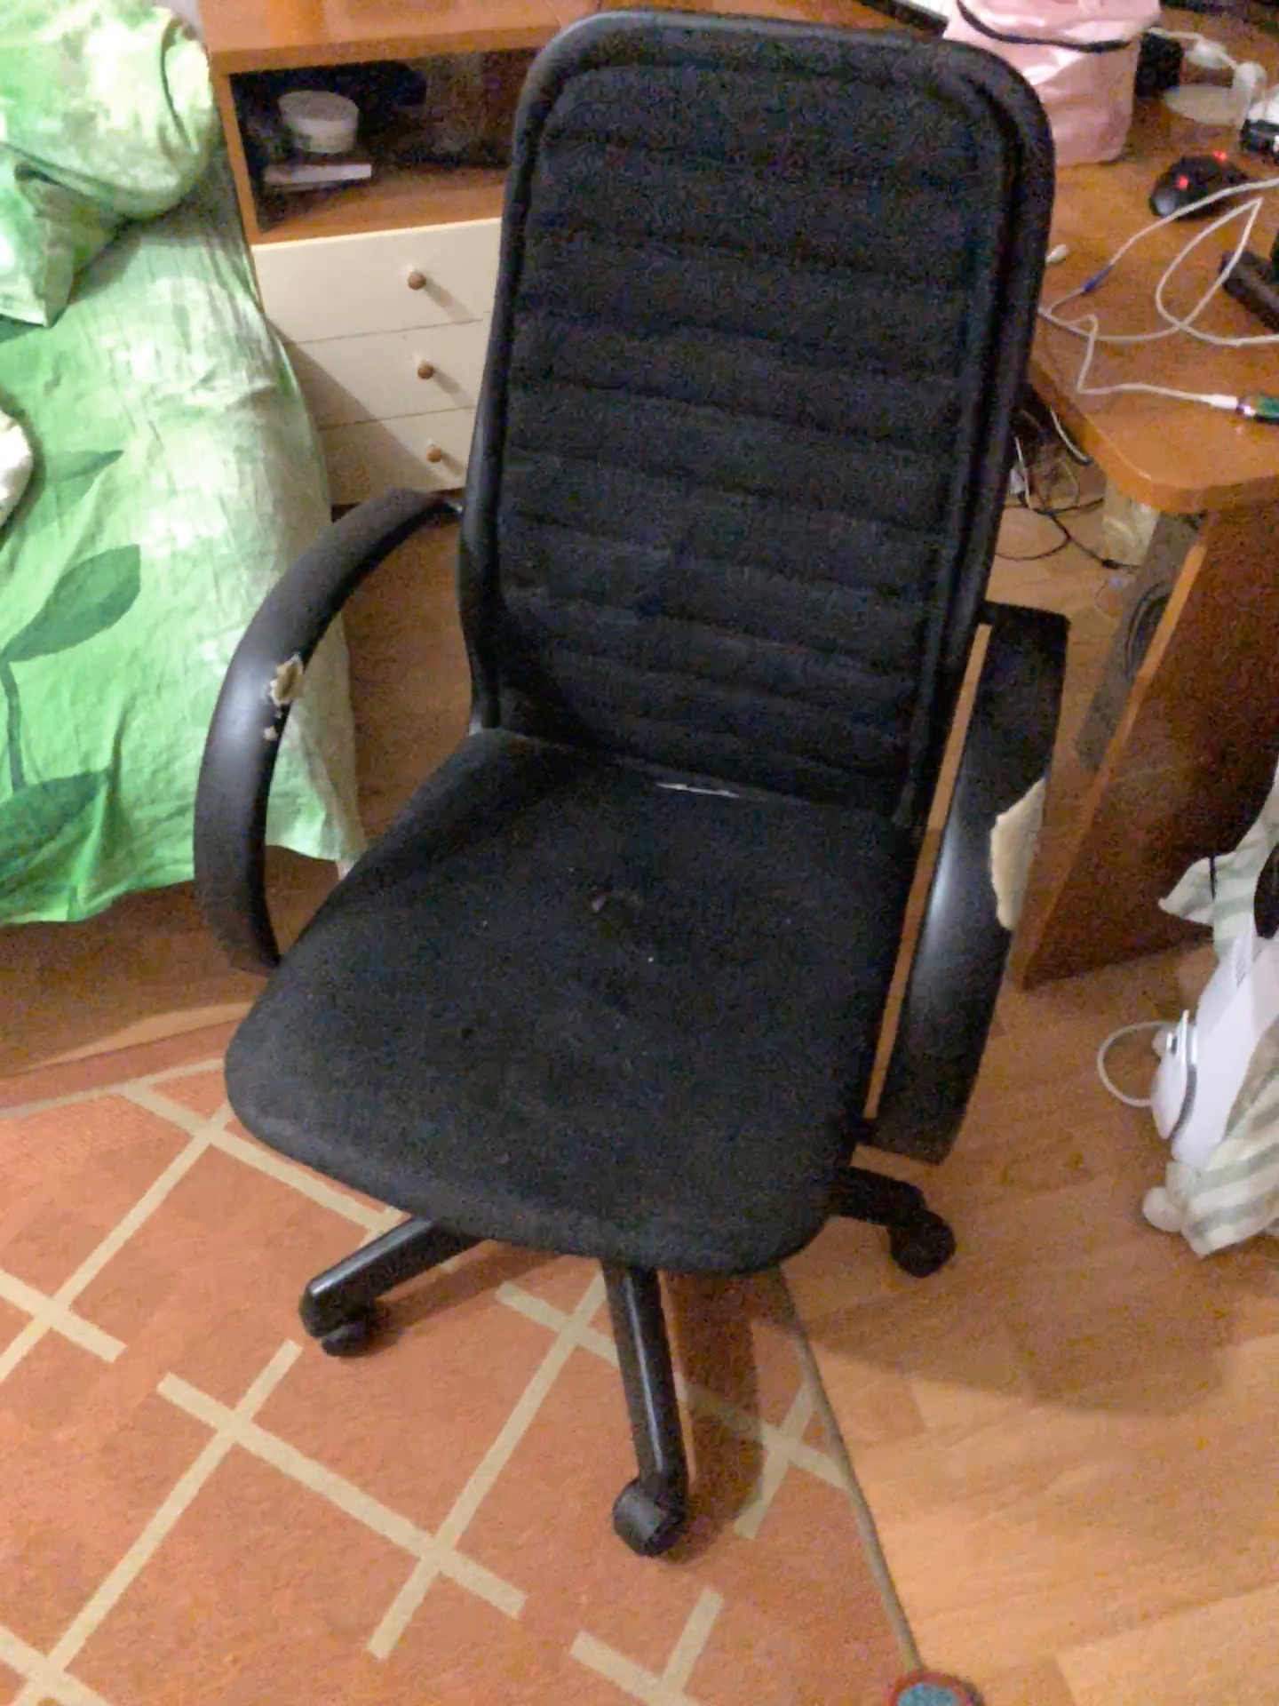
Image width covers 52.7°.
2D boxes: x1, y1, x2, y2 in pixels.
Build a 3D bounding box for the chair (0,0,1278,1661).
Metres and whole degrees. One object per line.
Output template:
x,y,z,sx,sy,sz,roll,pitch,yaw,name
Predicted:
0.004,0.025,1.011,0.670,0.992,0.726,13,50,9,chair
